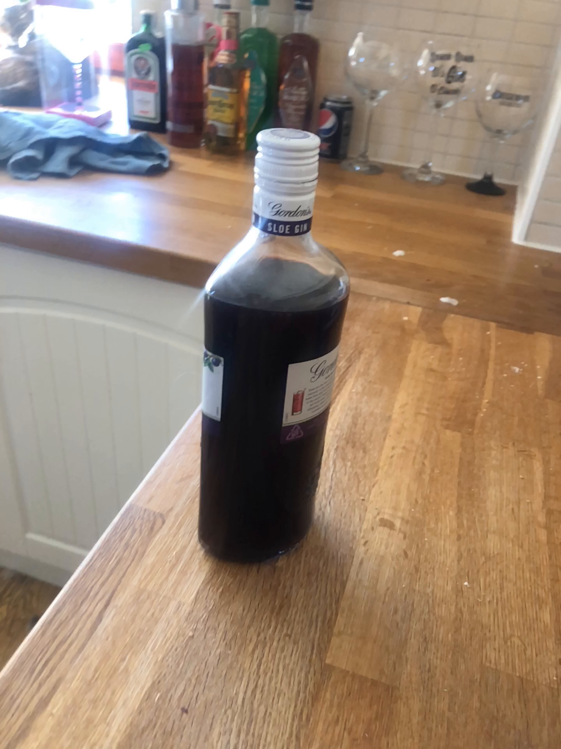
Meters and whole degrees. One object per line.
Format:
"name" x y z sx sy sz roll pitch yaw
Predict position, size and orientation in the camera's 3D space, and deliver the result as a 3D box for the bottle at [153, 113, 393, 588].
"bottle" -0.008 -0.009 0.355 0.080 0.238 0.101 17 34 17
